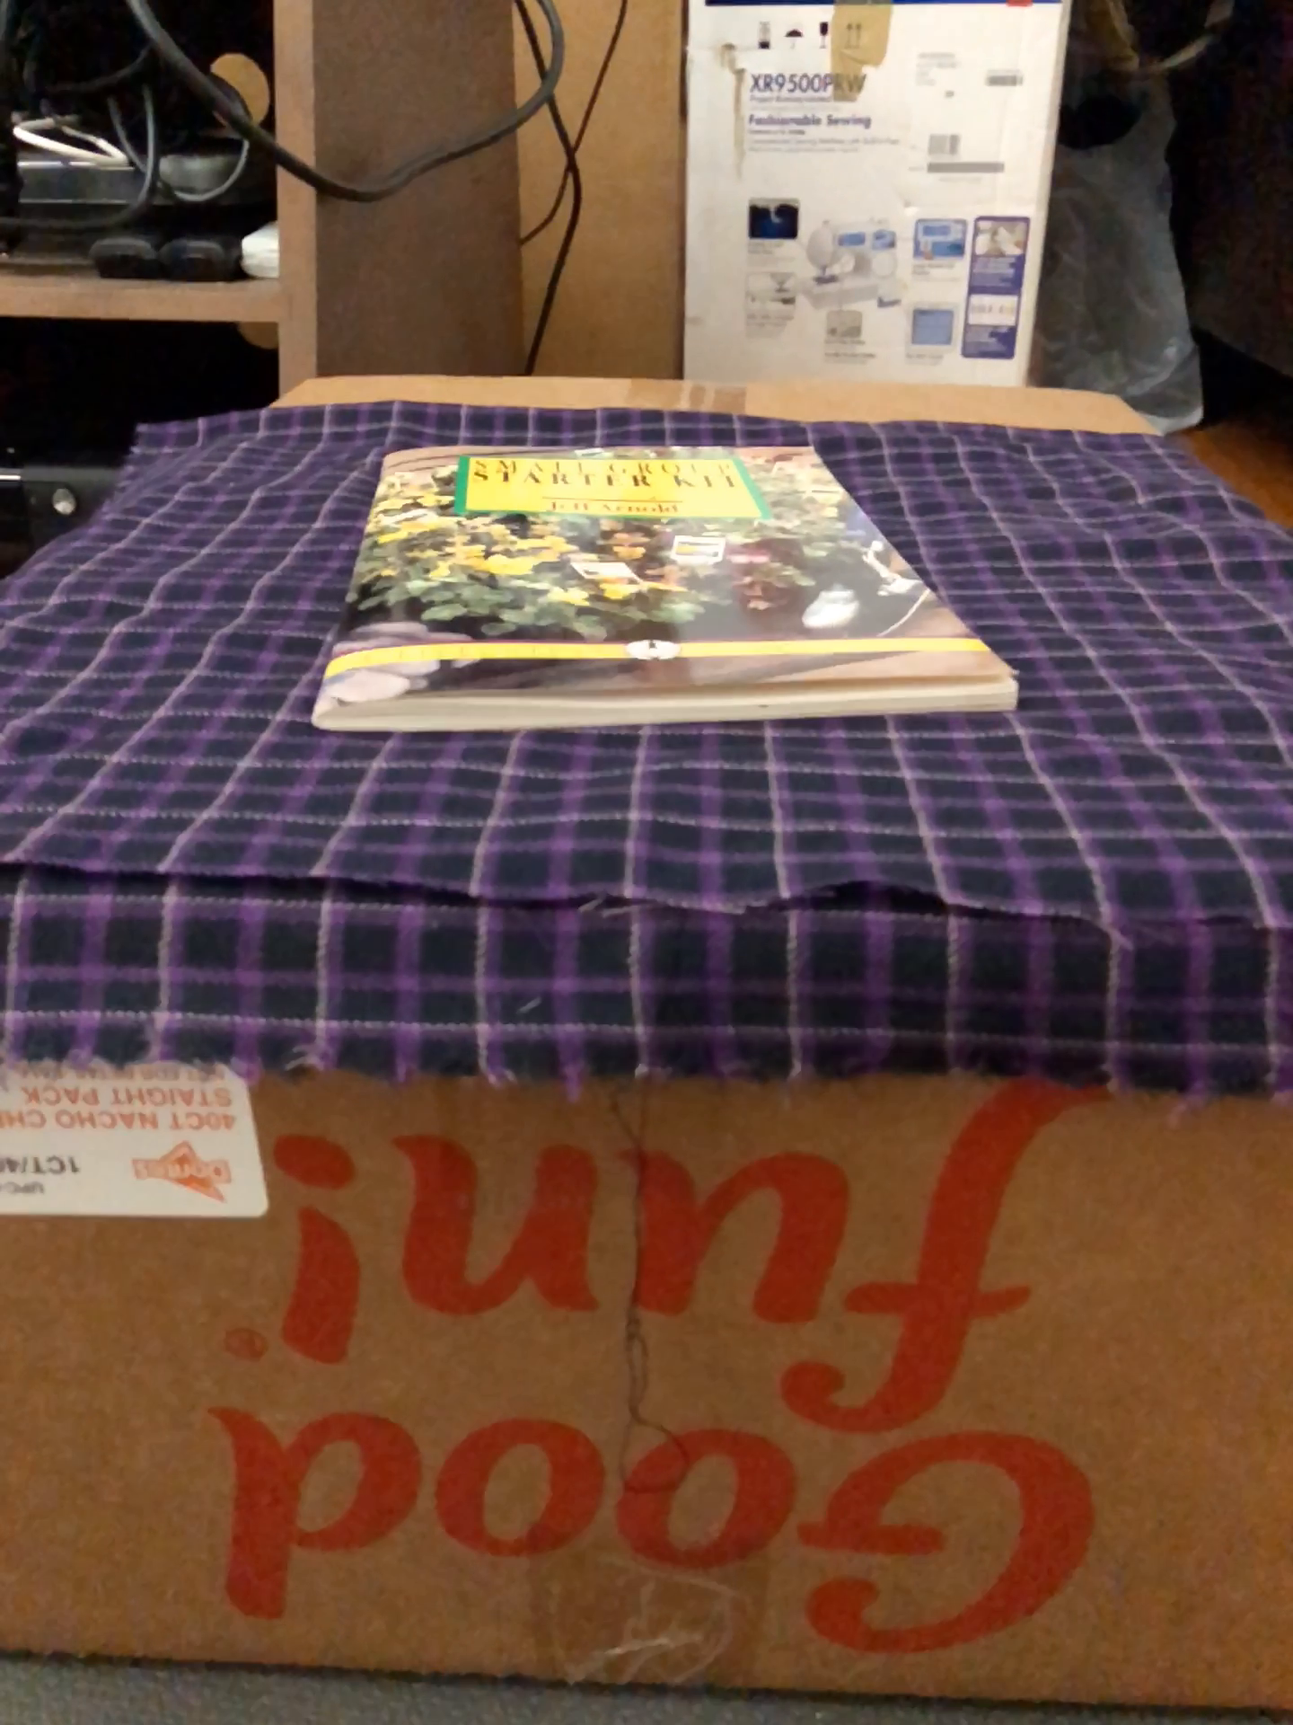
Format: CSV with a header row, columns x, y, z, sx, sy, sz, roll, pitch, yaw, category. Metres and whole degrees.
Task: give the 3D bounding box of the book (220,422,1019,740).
x,y,z,sx,sy,sz,roll,pitch,yaw,category
-0.013,-0.083,0.366,0.150,0.010,0.221,-3,29,-5,book
